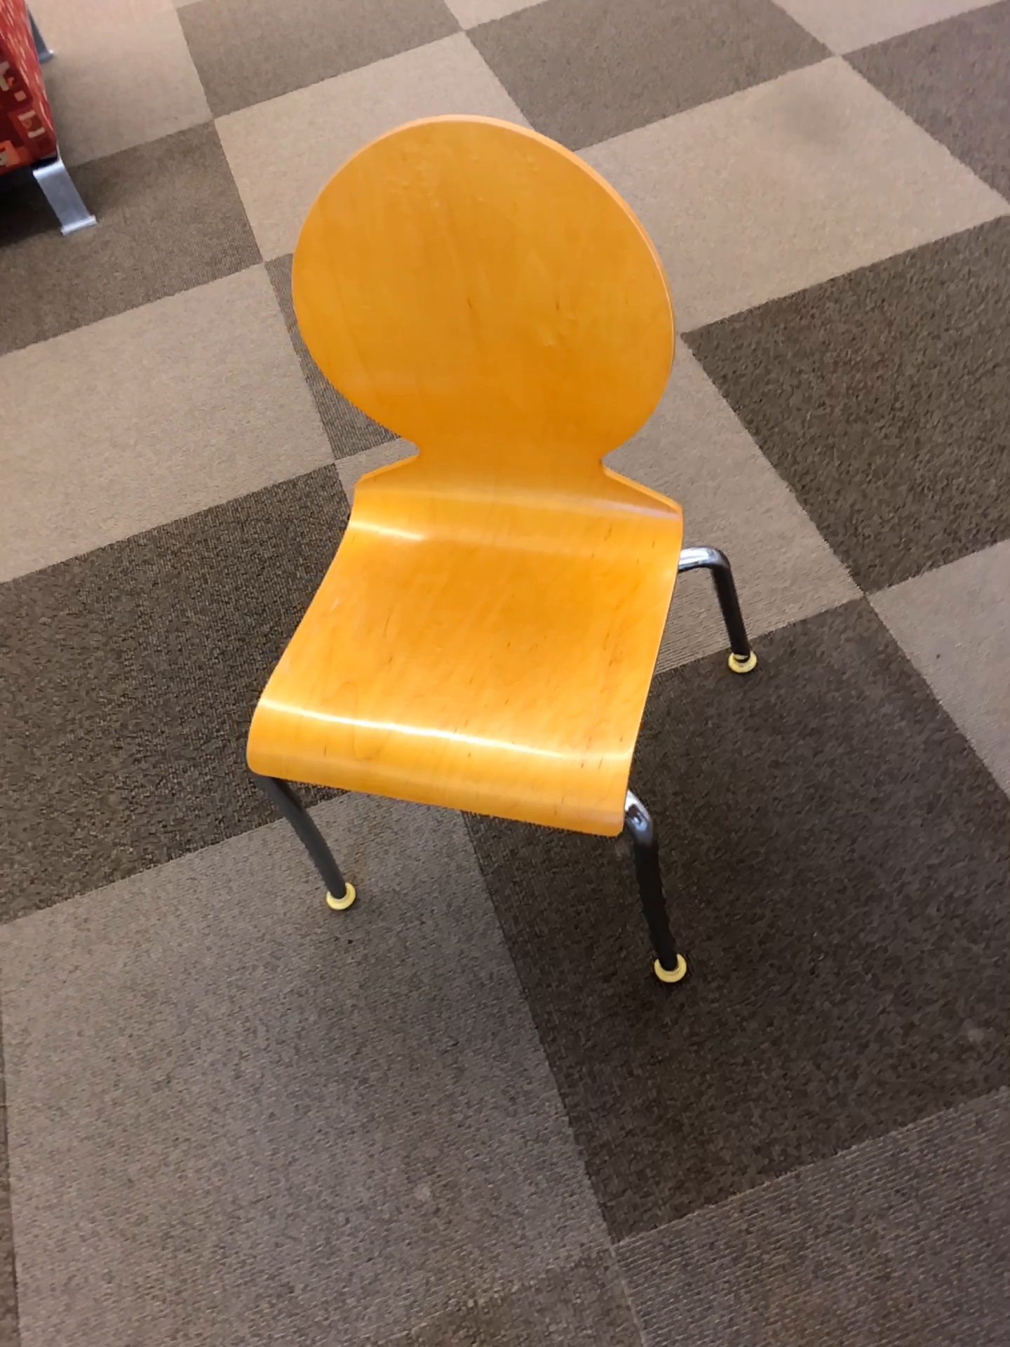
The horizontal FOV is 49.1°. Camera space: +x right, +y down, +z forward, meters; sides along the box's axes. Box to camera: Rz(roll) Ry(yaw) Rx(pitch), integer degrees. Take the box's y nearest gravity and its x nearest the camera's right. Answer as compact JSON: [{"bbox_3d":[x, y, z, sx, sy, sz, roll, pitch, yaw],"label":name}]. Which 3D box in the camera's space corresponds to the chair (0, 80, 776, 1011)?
[{"bbox_3d":[-0.028,-0.077,1.058,0.466,0.723,0.471,9,58,17],"label":"chair"}]
